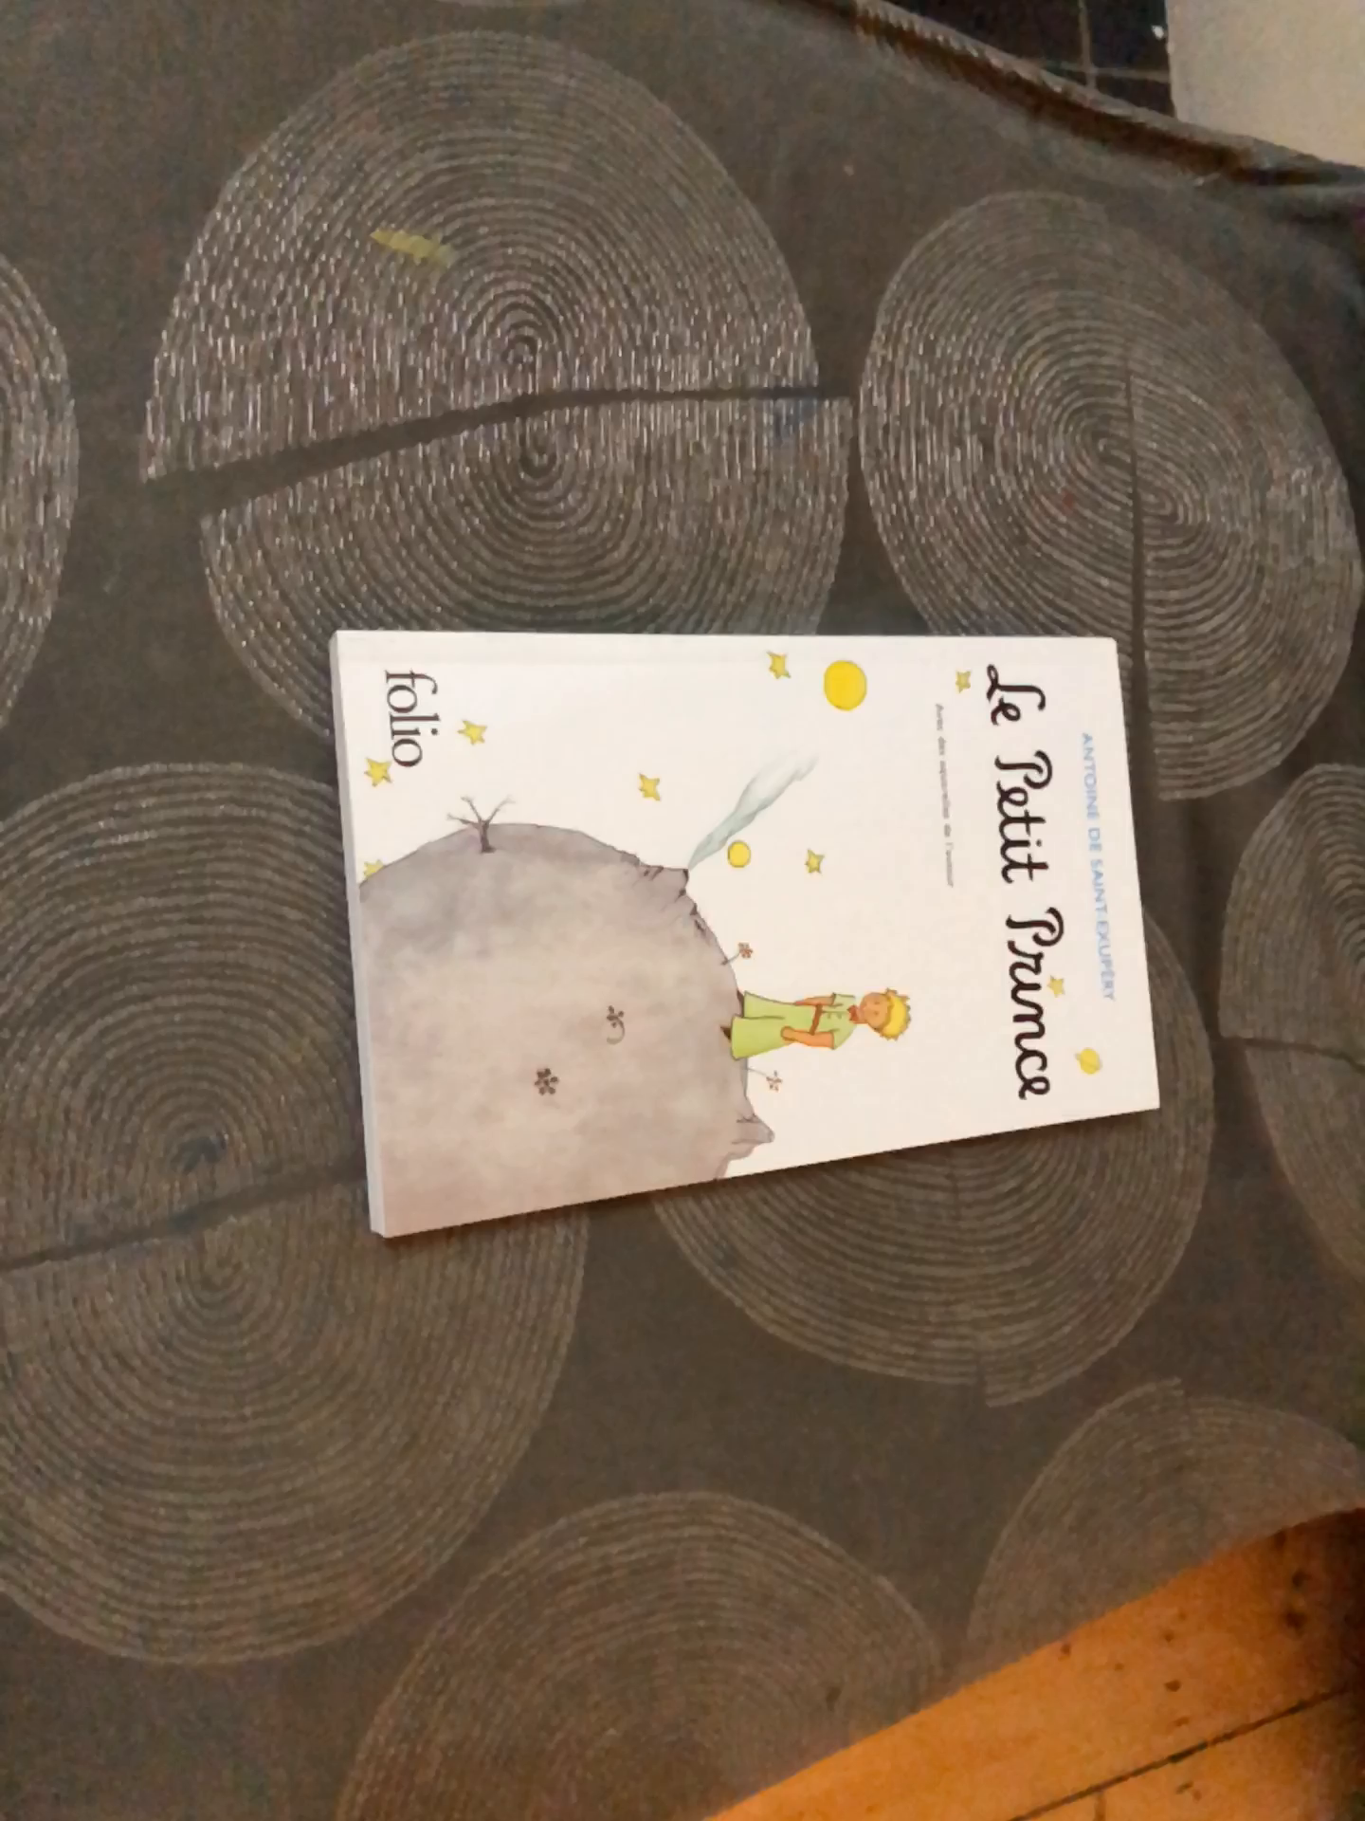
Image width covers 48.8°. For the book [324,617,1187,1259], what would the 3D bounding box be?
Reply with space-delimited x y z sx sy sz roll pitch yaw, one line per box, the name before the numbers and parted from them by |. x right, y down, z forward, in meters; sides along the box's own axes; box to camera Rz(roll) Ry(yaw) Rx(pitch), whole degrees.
book | 0.020 0.000 0.302 0.170 0.030 0.110 -3 92 -21
